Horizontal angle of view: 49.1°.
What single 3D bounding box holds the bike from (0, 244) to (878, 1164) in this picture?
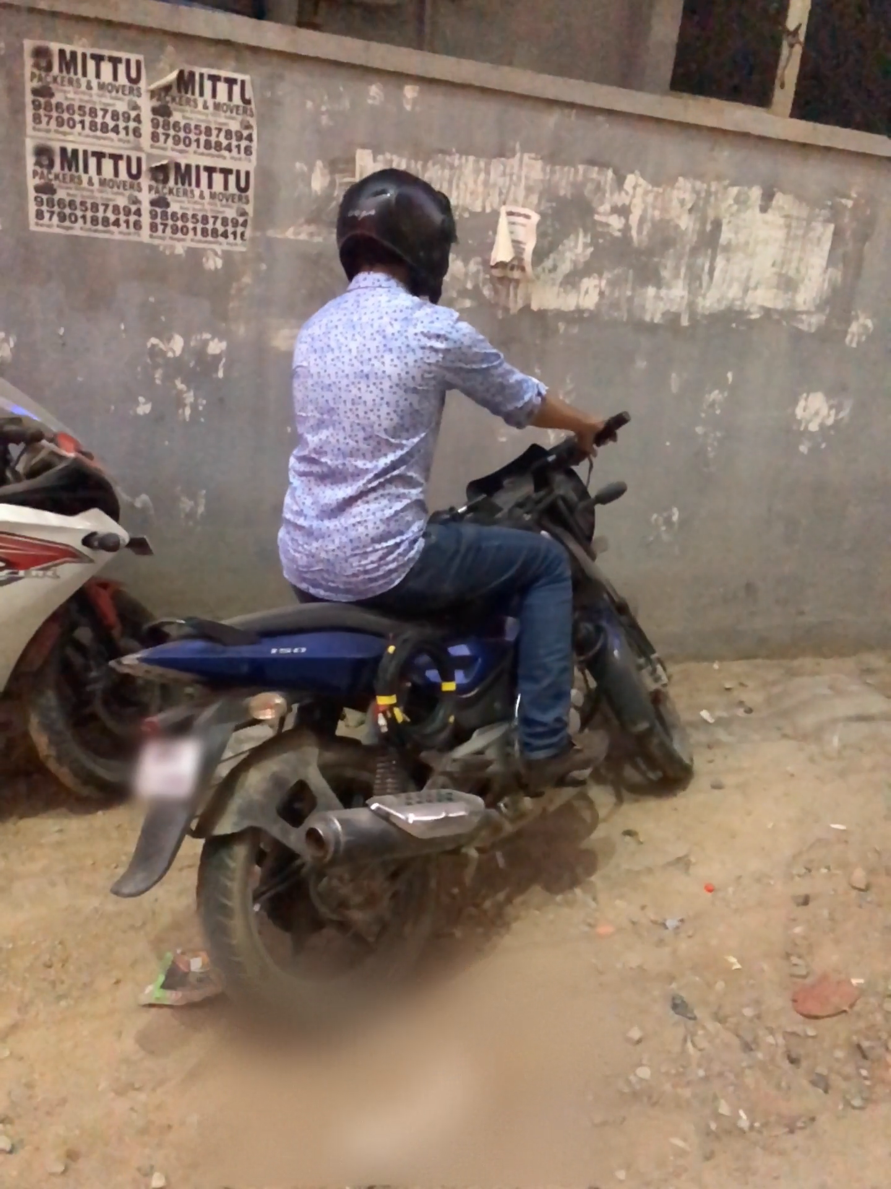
[{"bbox_3d":[0.047,-0.015,2.214,1.092,1.114,1.510,17,30,28],"label":"bike"}]
